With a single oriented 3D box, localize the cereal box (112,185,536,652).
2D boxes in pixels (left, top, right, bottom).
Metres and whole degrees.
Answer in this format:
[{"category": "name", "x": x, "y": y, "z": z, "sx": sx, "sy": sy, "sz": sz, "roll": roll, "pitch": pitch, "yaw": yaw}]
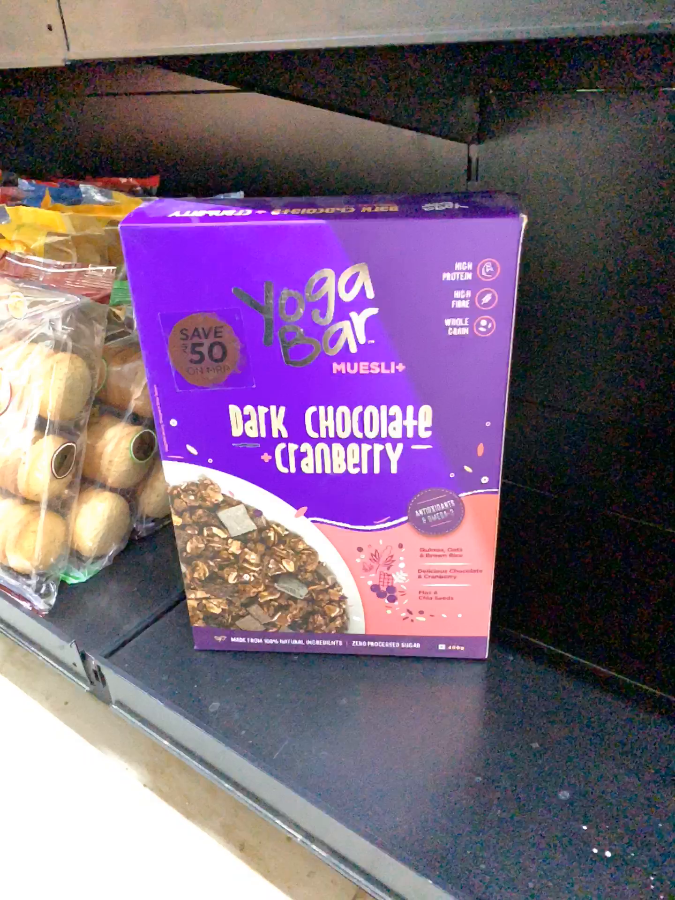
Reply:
[{"category": "cereal box", "x": -0.003, "y": -0.008, "z": 0.351, "sx": 0.170, "sy": 0.228, "sz": 0.050, "roll": 2, "pitch": 27, "yaw": 6}]
